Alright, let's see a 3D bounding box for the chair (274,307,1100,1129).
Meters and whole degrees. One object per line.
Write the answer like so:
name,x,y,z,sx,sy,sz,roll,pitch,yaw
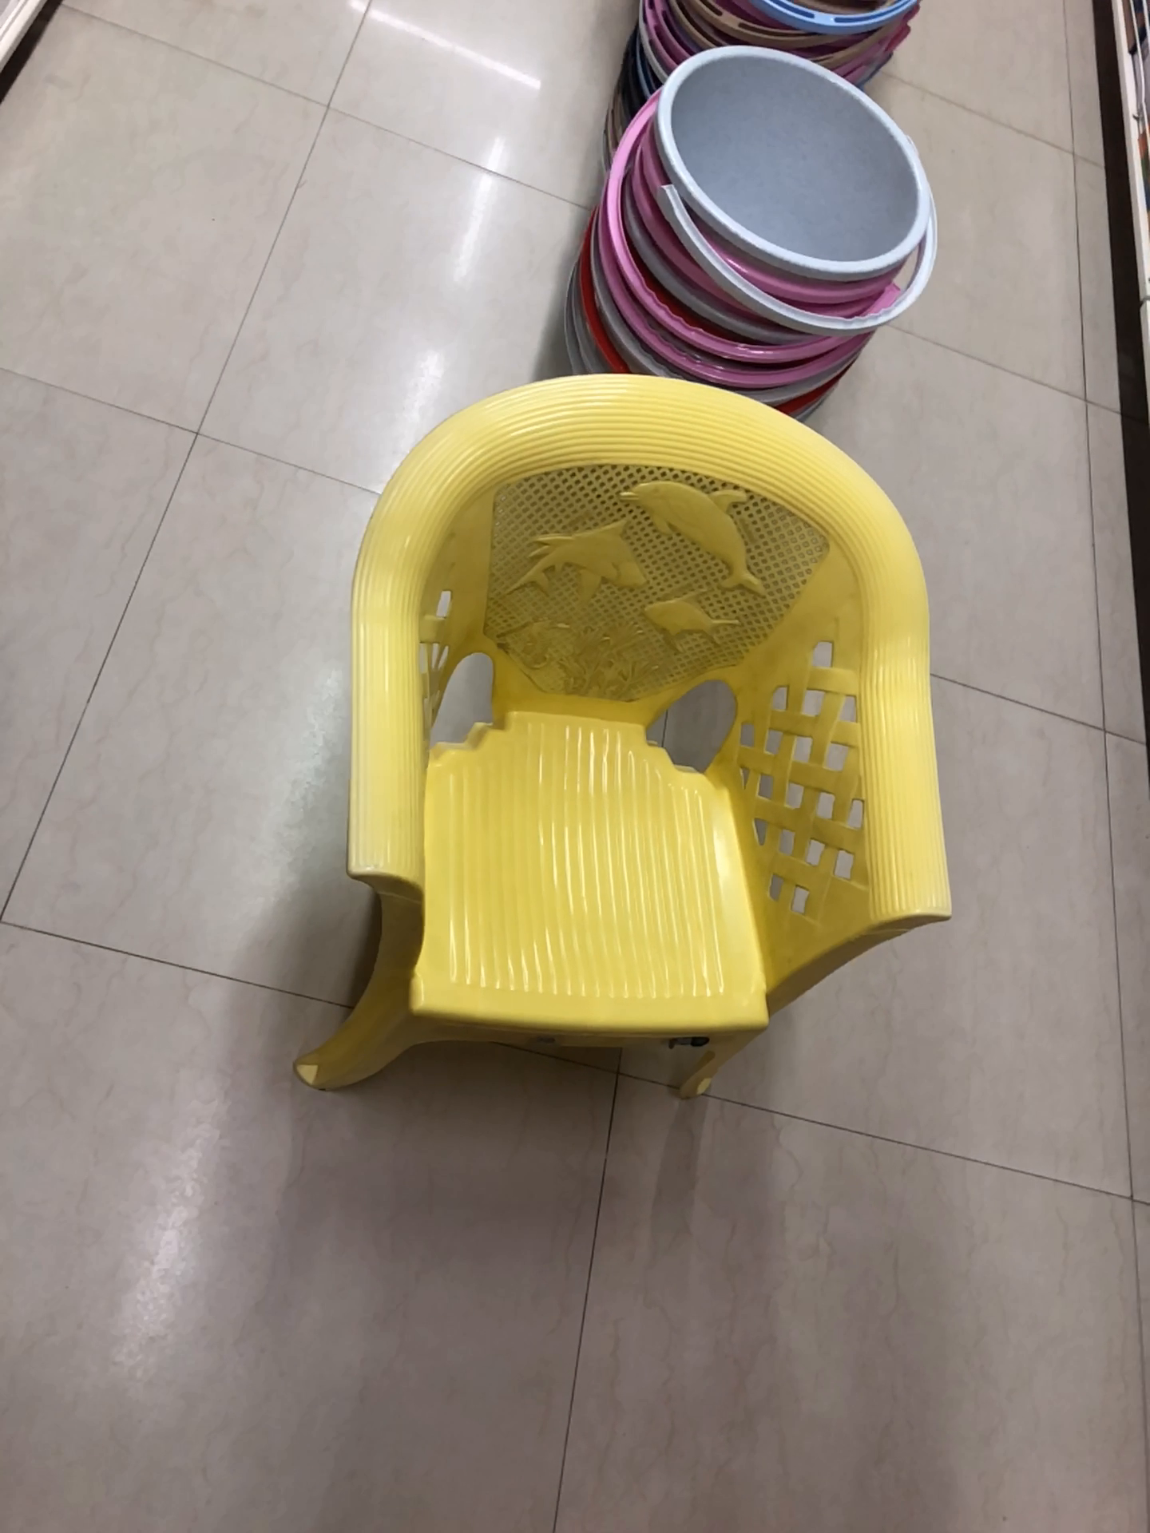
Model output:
chair,0.039,0.005,0.999,0.470,0.398,0.472,6,63,-16
